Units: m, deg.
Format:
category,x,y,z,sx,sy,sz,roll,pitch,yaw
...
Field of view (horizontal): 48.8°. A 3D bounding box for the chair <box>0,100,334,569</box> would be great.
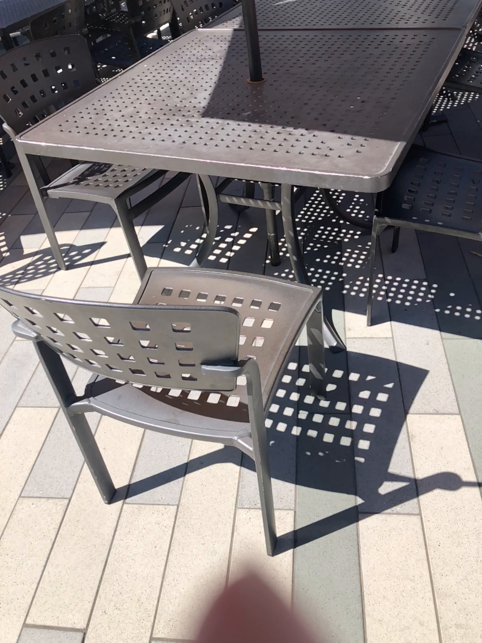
category,x,y,z,sx,sy,sz,roll,pitch,yaw
chair,-0.129,0.035,1.102,0.521,0.756,0.532,8,48,19
